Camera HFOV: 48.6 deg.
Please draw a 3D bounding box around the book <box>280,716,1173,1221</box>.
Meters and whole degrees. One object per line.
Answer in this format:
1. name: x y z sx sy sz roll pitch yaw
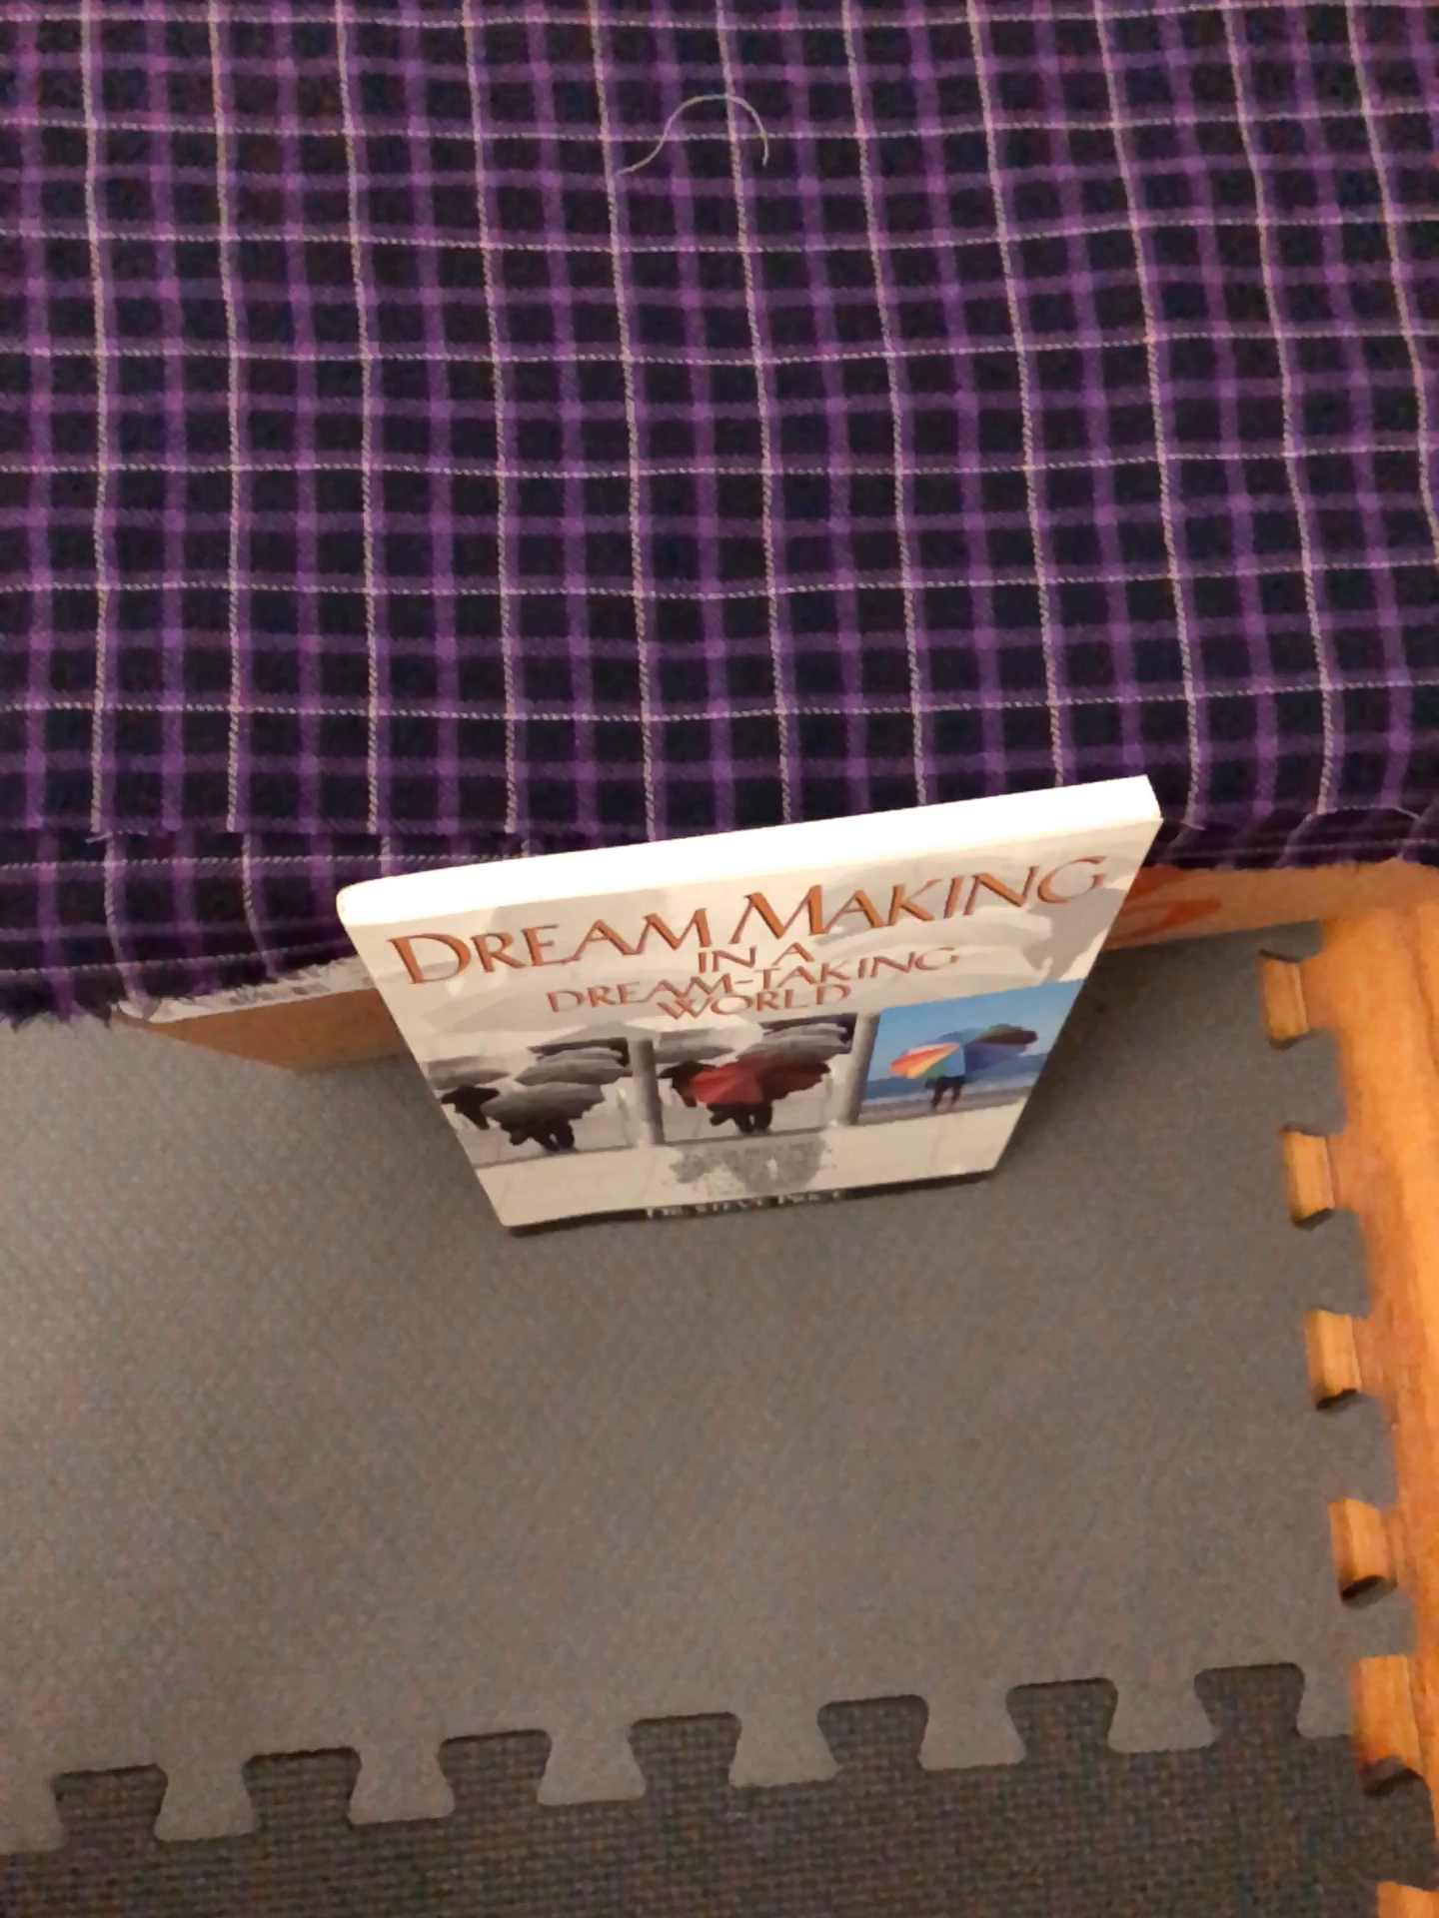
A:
1. book: 0.004 0.017 0.372 0.150 0.220 0.020 -5 66 0
